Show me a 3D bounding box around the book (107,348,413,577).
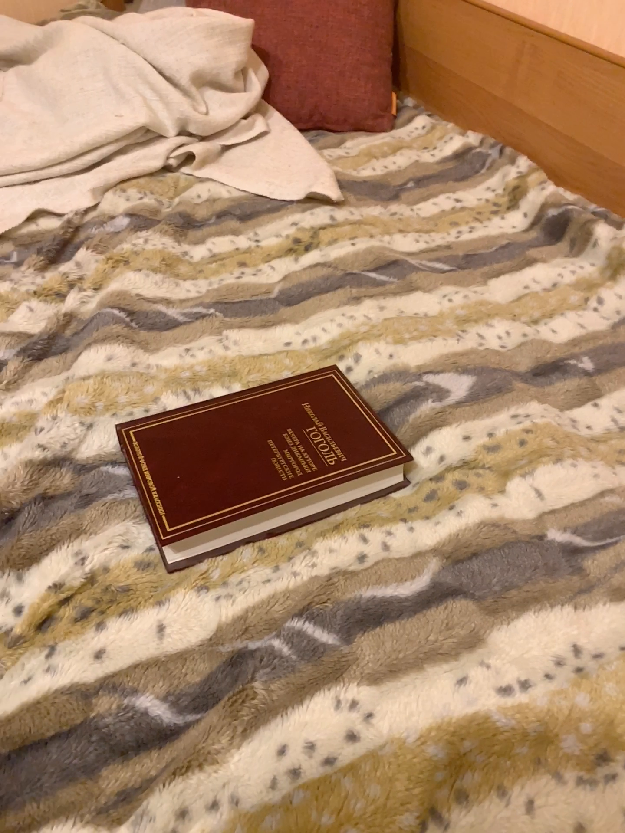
[{"bbox_3d":[-0.047,0.026,0.539,0.210,0.040,0.150,-18,45,-19],"label":"book"}]
